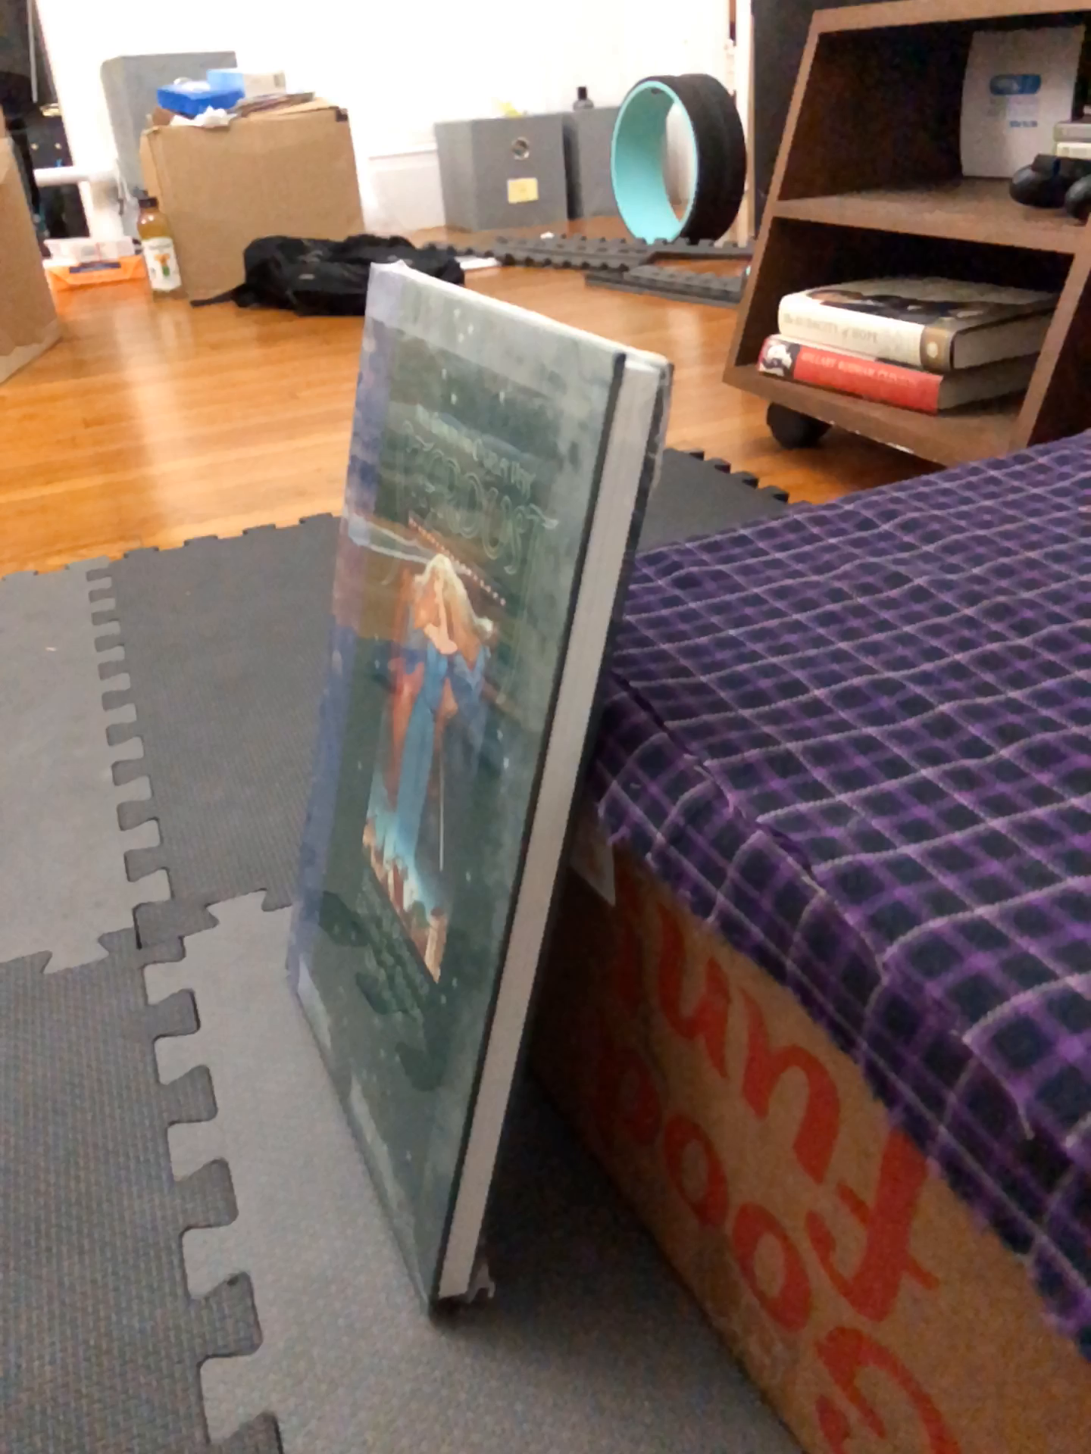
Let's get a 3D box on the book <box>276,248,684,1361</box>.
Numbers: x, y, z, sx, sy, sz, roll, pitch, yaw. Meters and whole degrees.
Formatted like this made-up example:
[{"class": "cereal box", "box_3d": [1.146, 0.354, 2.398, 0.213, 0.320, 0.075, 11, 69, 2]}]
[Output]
[{"class": "book", "box_3d": [-0.047, 0.013, 0.425, 0.020, 0.329, 0.211, 1, 23, -26]}]
